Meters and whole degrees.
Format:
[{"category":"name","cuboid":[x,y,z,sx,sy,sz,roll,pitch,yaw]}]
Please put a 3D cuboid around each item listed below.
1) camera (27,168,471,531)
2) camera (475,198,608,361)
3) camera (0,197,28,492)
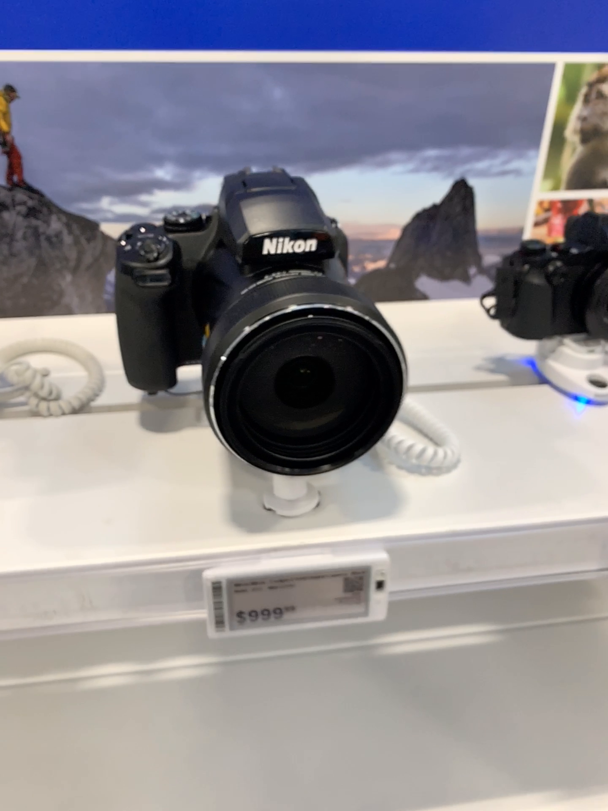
[{"category":"camera","cuboid":[-0.034,-0.054,0.350,0.160,0.109,0.221,-5,29,-8]},{"category":"camera","cuboid":[0.195,-0.091,0.446,0.120,0.089,0.060,-7,29,-12]},{"category":"camera","cuboid":[-0.262,-0.045,0.347,0.160,0.099,0.151,-4,29,-7]}]
